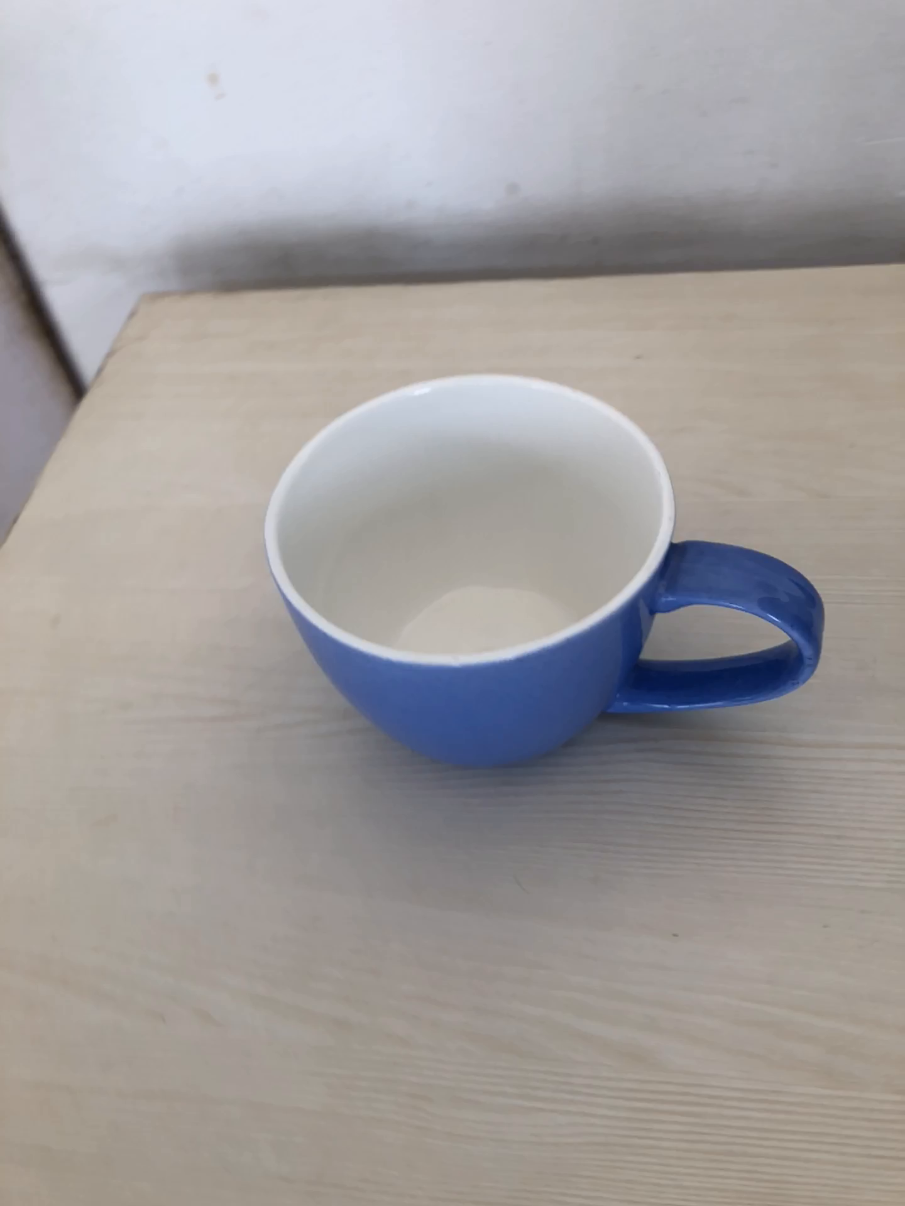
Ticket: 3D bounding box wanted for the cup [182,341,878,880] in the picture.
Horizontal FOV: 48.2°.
[{"bbox_3d":[0.026,-0.006,0.278,0.150,0.070,0.101,12,51,19],"label":"cup"}]
